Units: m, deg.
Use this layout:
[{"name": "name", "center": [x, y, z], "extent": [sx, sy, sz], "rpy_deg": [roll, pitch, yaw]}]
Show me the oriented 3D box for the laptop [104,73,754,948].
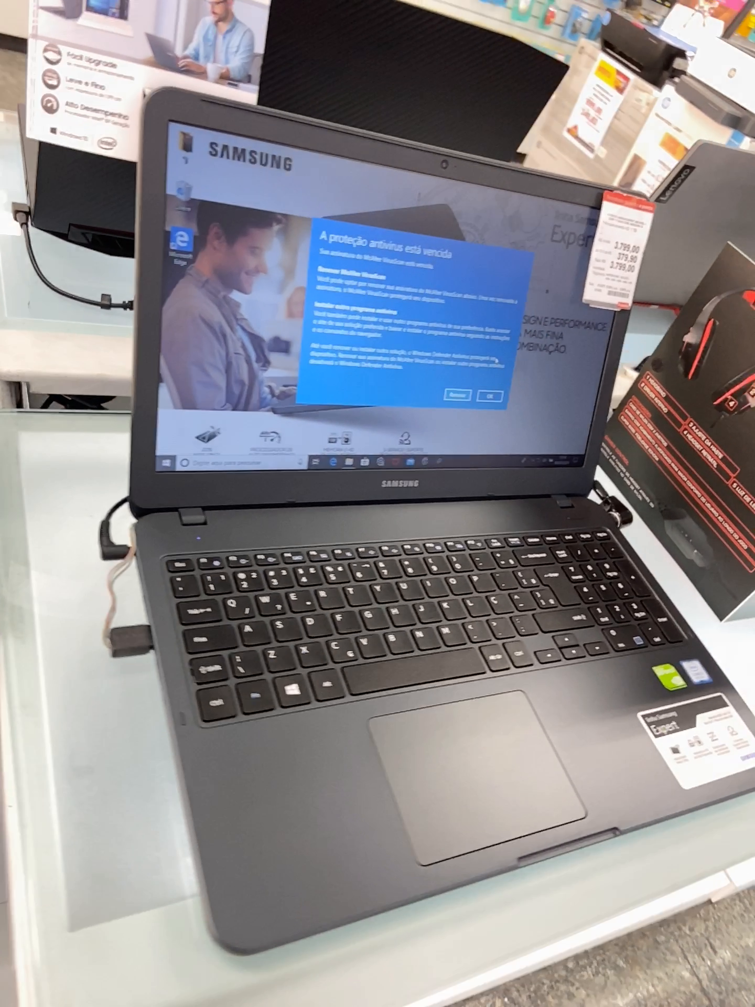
[{"name": "laptop", "center": [0.067, -0.028, 0.459], "extent": [0.372, 0.207, 0.372], "rpy_deg": [-2, 47, -29]}]
